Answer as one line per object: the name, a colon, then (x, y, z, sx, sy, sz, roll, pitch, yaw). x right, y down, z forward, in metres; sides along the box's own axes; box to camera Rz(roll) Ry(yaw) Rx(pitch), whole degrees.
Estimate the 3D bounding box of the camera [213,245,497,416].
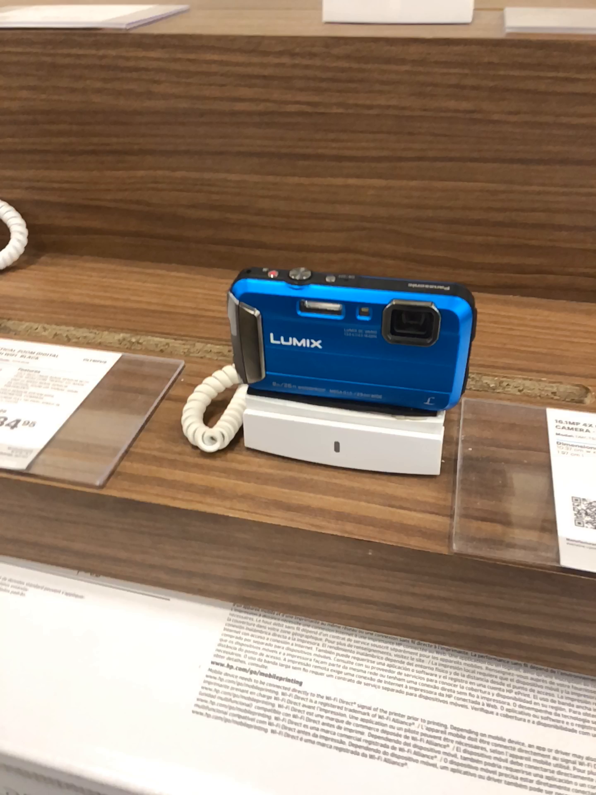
camera: (0.023, -0.028, 0.279, 0.110, 0.060, 0.020, 7, 39, 12)
